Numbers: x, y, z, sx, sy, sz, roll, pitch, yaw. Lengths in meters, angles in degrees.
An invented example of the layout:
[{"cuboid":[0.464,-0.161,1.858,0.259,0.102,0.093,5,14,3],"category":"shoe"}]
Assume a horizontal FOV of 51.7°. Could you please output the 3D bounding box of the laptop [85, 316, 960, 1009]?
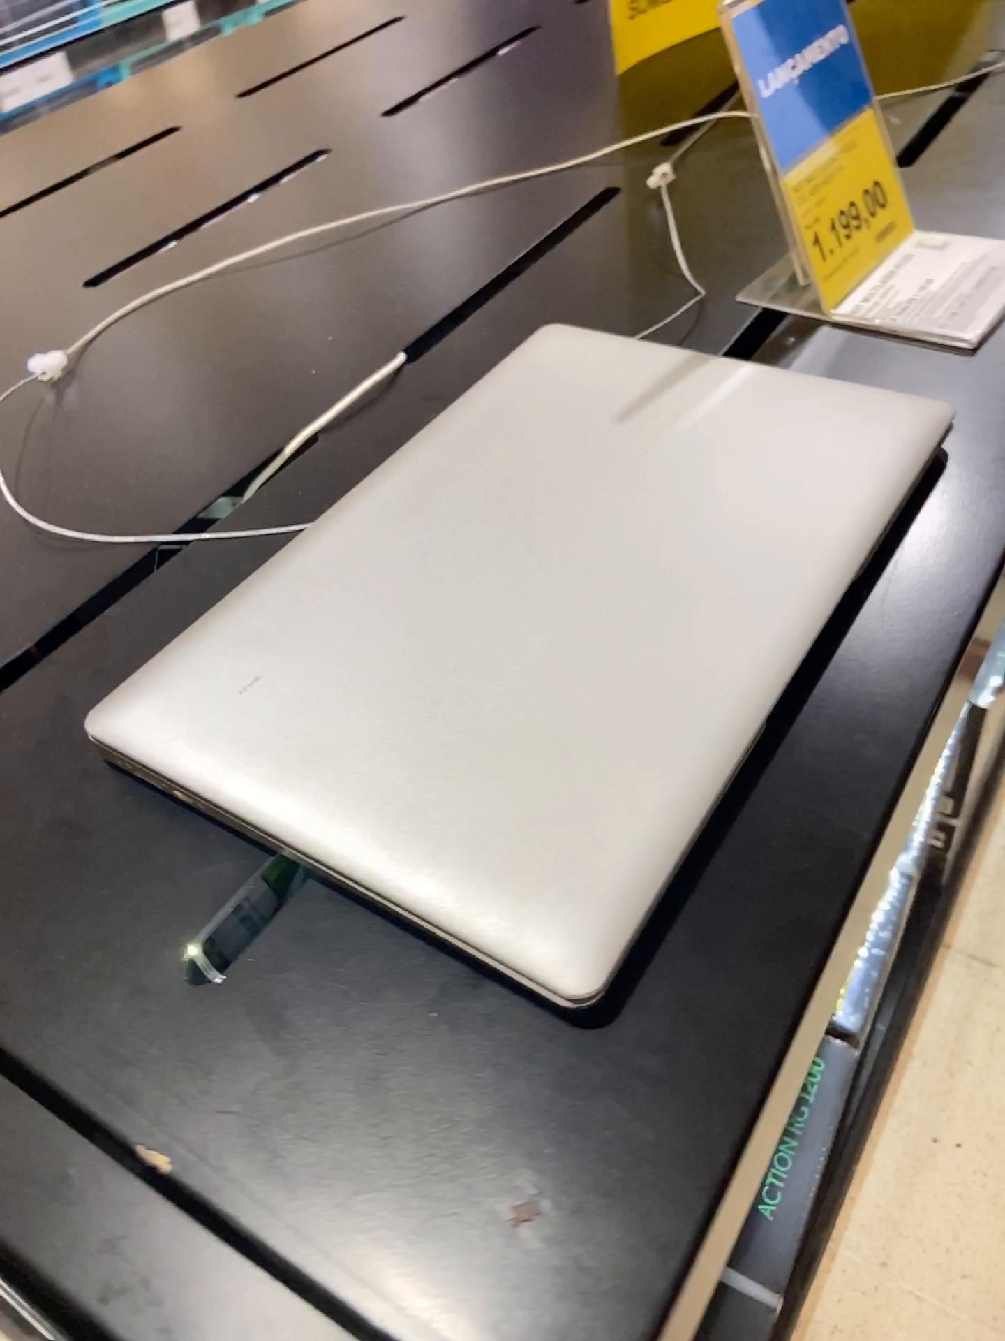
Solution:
[{"cuboid":[0.025,-0.047,0.404,0.205,0.003,0.316,22,52,26],"category":"laptop"}]
